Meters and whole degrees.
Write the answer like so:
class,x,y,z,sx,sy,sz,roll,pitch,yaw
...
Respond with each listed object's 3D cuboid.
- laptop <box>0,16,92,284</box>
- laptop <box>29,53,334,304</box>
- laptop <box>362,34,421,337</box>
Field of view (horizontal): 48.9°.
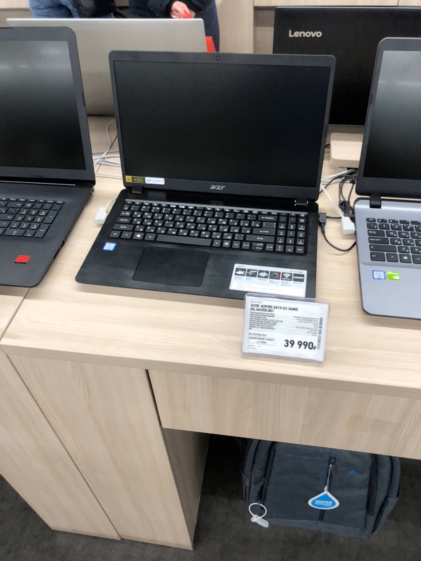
class,x,y,z,sx,sy,sz,roll,pitch,yaw
laptop,-0.428,-0.220,0.733,0.353,0.226,0.347,4,48,4
laptop,-0.011,-0.165,0.688,0.346,0.219,0.292,5,46,9
laptop,0.398,-0.143,0.619,0.326,0.218,0.326,5,48,10
